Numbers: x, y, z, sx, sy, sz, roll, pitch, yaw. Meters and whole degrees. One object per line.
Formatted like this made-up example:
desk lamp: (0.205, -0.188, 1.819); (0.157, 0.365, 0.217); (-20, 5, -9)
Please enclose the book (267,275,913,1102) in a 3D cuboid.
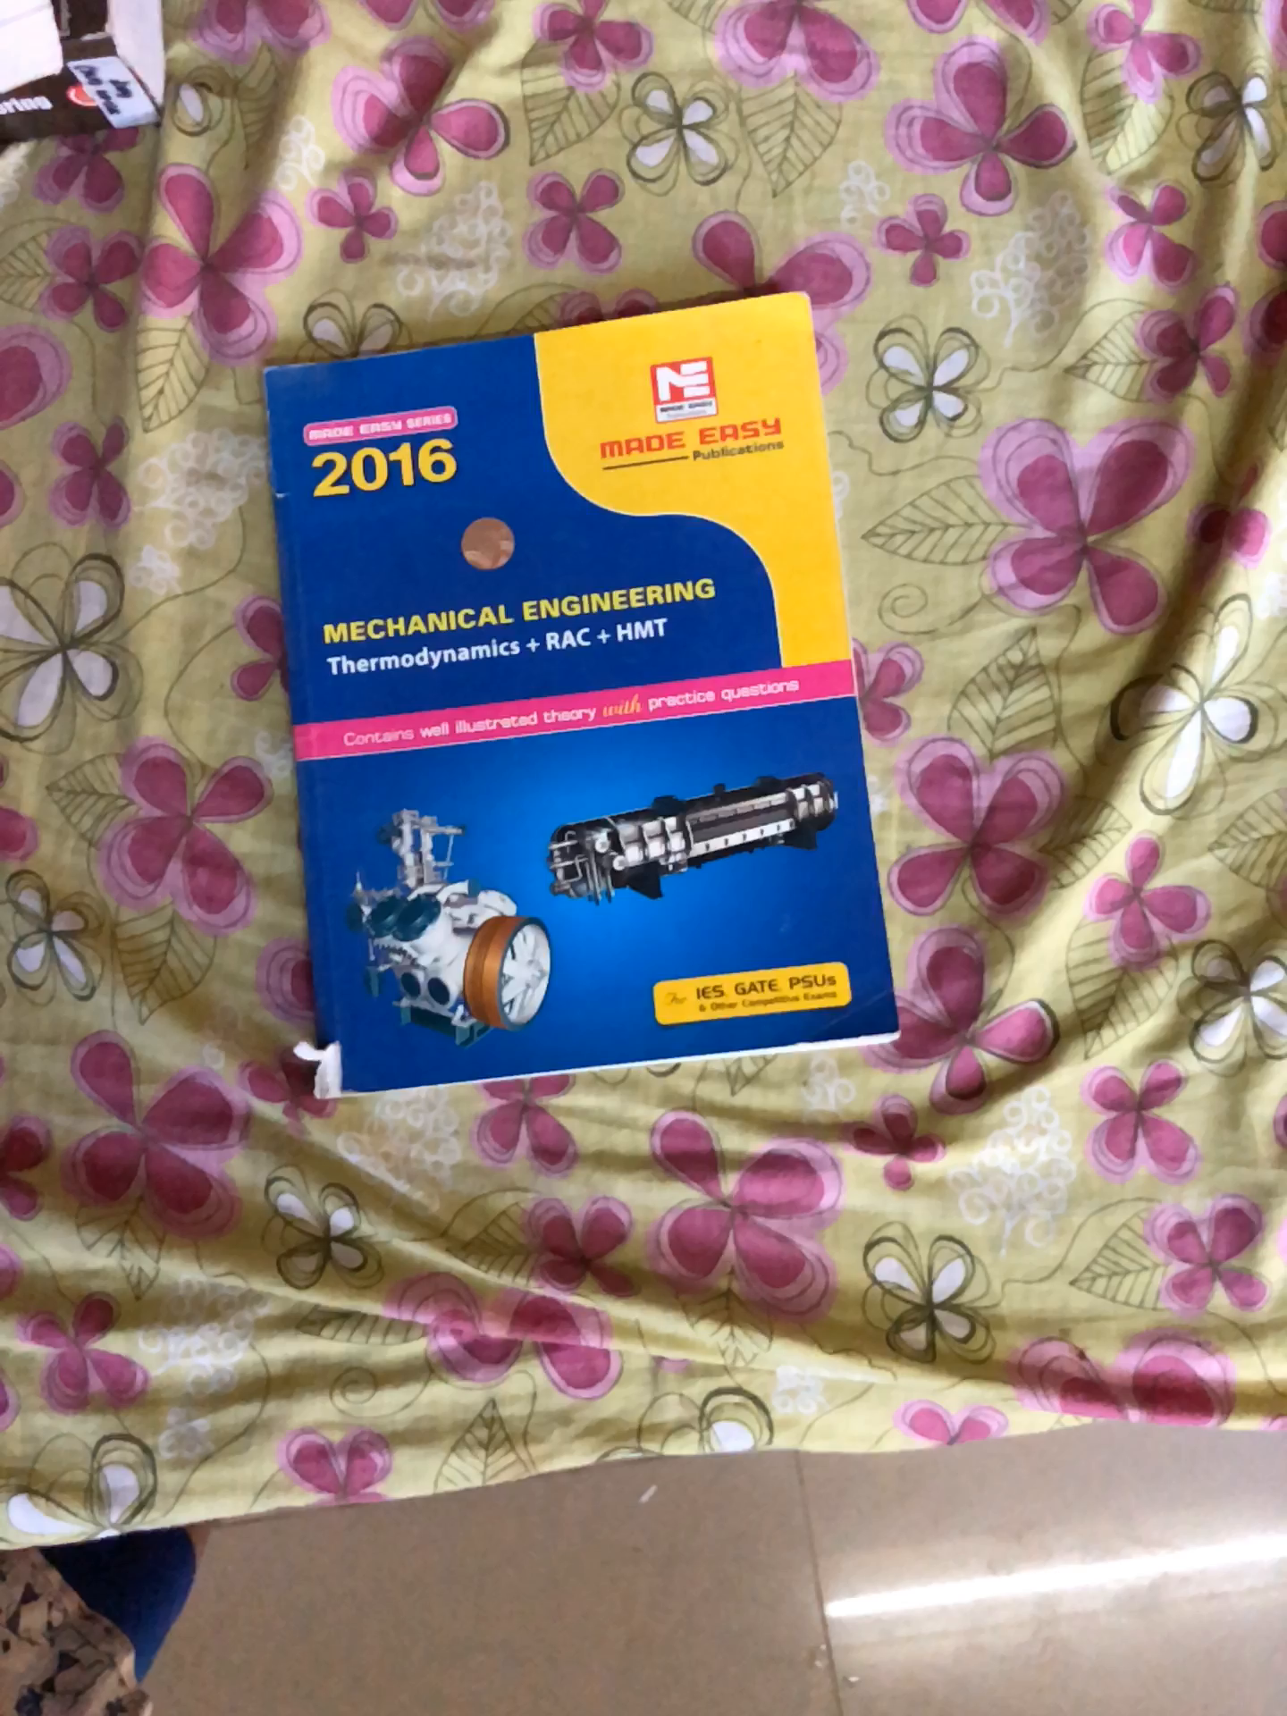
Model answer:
book: (-0.023, -0.059, 0.515); (0.200, 0.030, 0.269); (-7, 83, 6)
